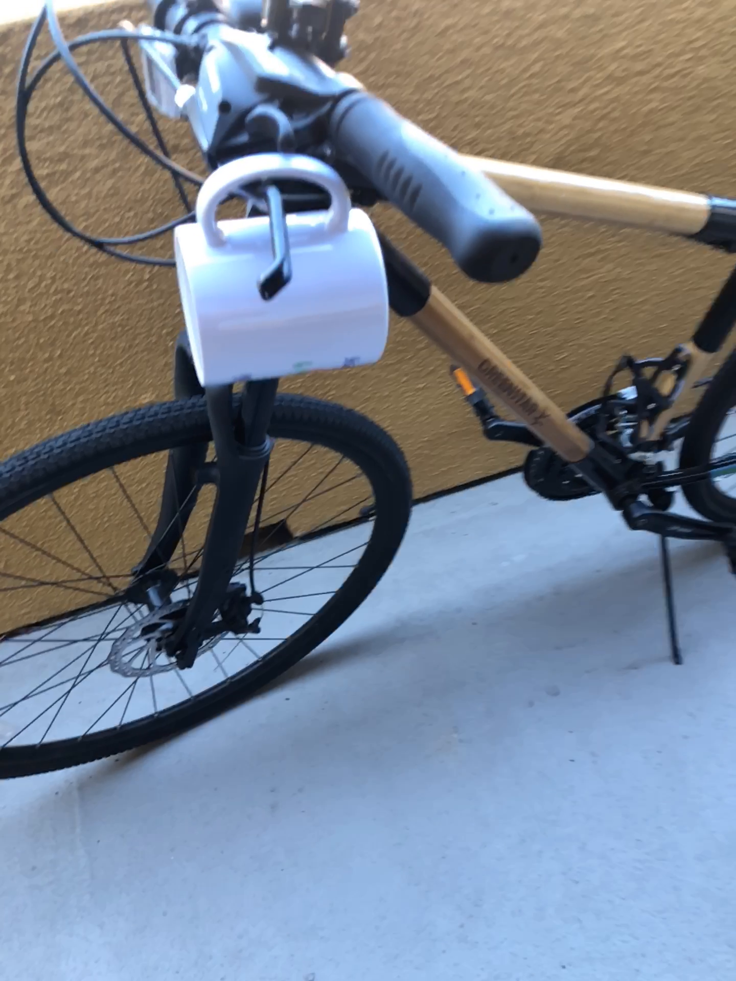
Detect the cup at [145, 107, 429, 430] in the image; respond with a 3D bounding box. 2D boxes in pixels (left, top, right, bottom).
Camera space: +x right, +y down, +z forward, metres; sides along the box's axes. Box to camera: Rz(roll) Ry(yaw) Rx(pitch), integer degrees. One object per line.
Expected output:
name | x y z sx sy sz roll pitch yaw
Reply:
cup | -0.041 -0.113 0.419 0.120 0.120 0.090 -8 54 -7
